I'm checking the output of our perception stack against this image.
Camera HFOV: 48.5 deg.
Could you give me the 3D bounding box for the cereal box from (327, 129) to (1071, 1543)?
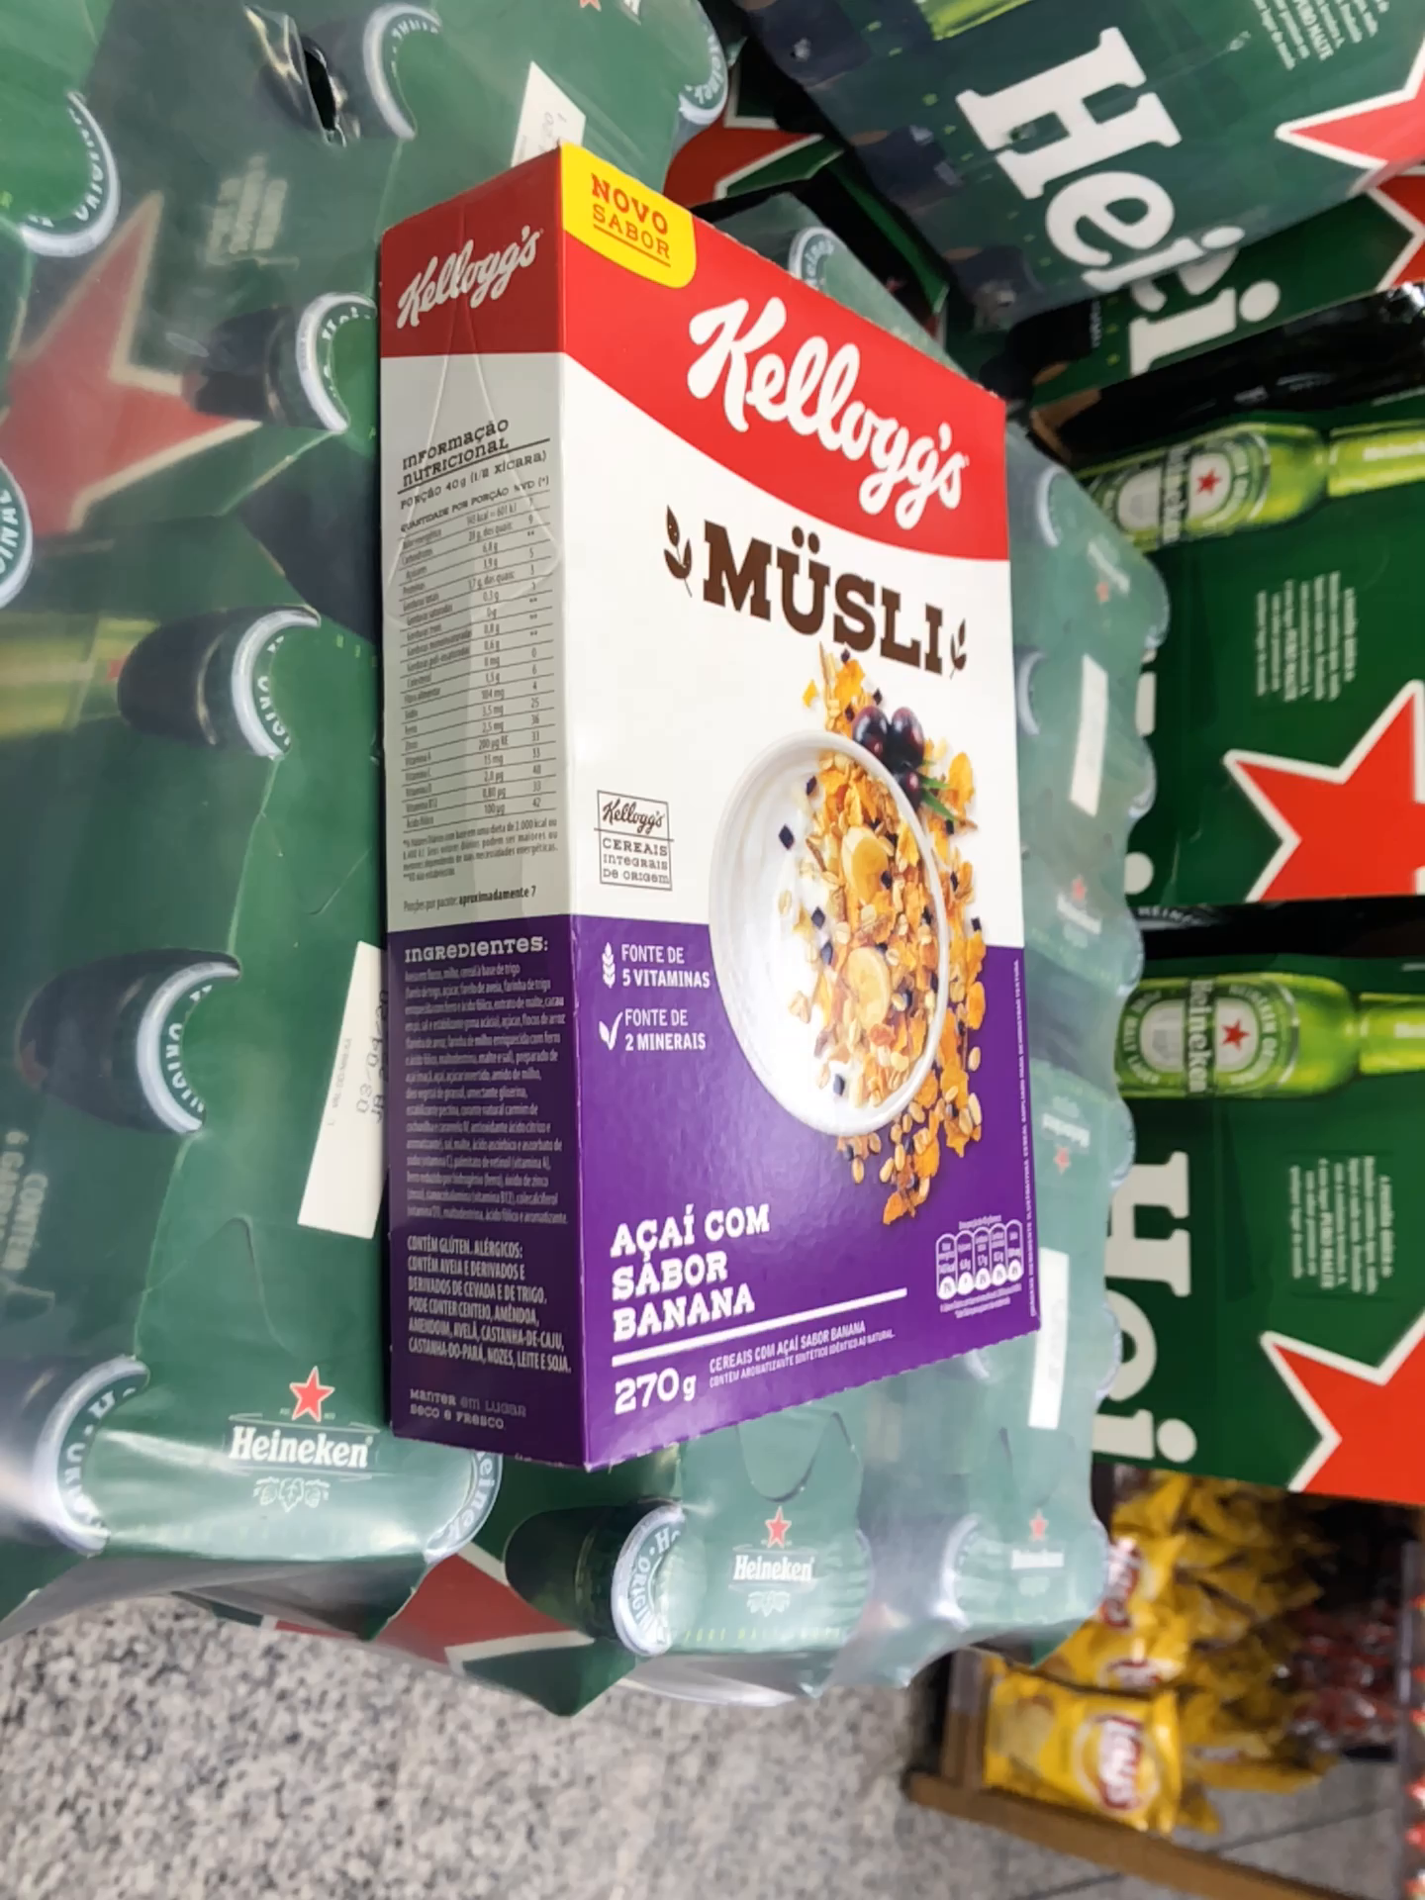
[{"bbox_3d":[0.007,-0.015,0.282,0.151,0.040,0.190,3,85,-51],"label":"cereal box"}]
